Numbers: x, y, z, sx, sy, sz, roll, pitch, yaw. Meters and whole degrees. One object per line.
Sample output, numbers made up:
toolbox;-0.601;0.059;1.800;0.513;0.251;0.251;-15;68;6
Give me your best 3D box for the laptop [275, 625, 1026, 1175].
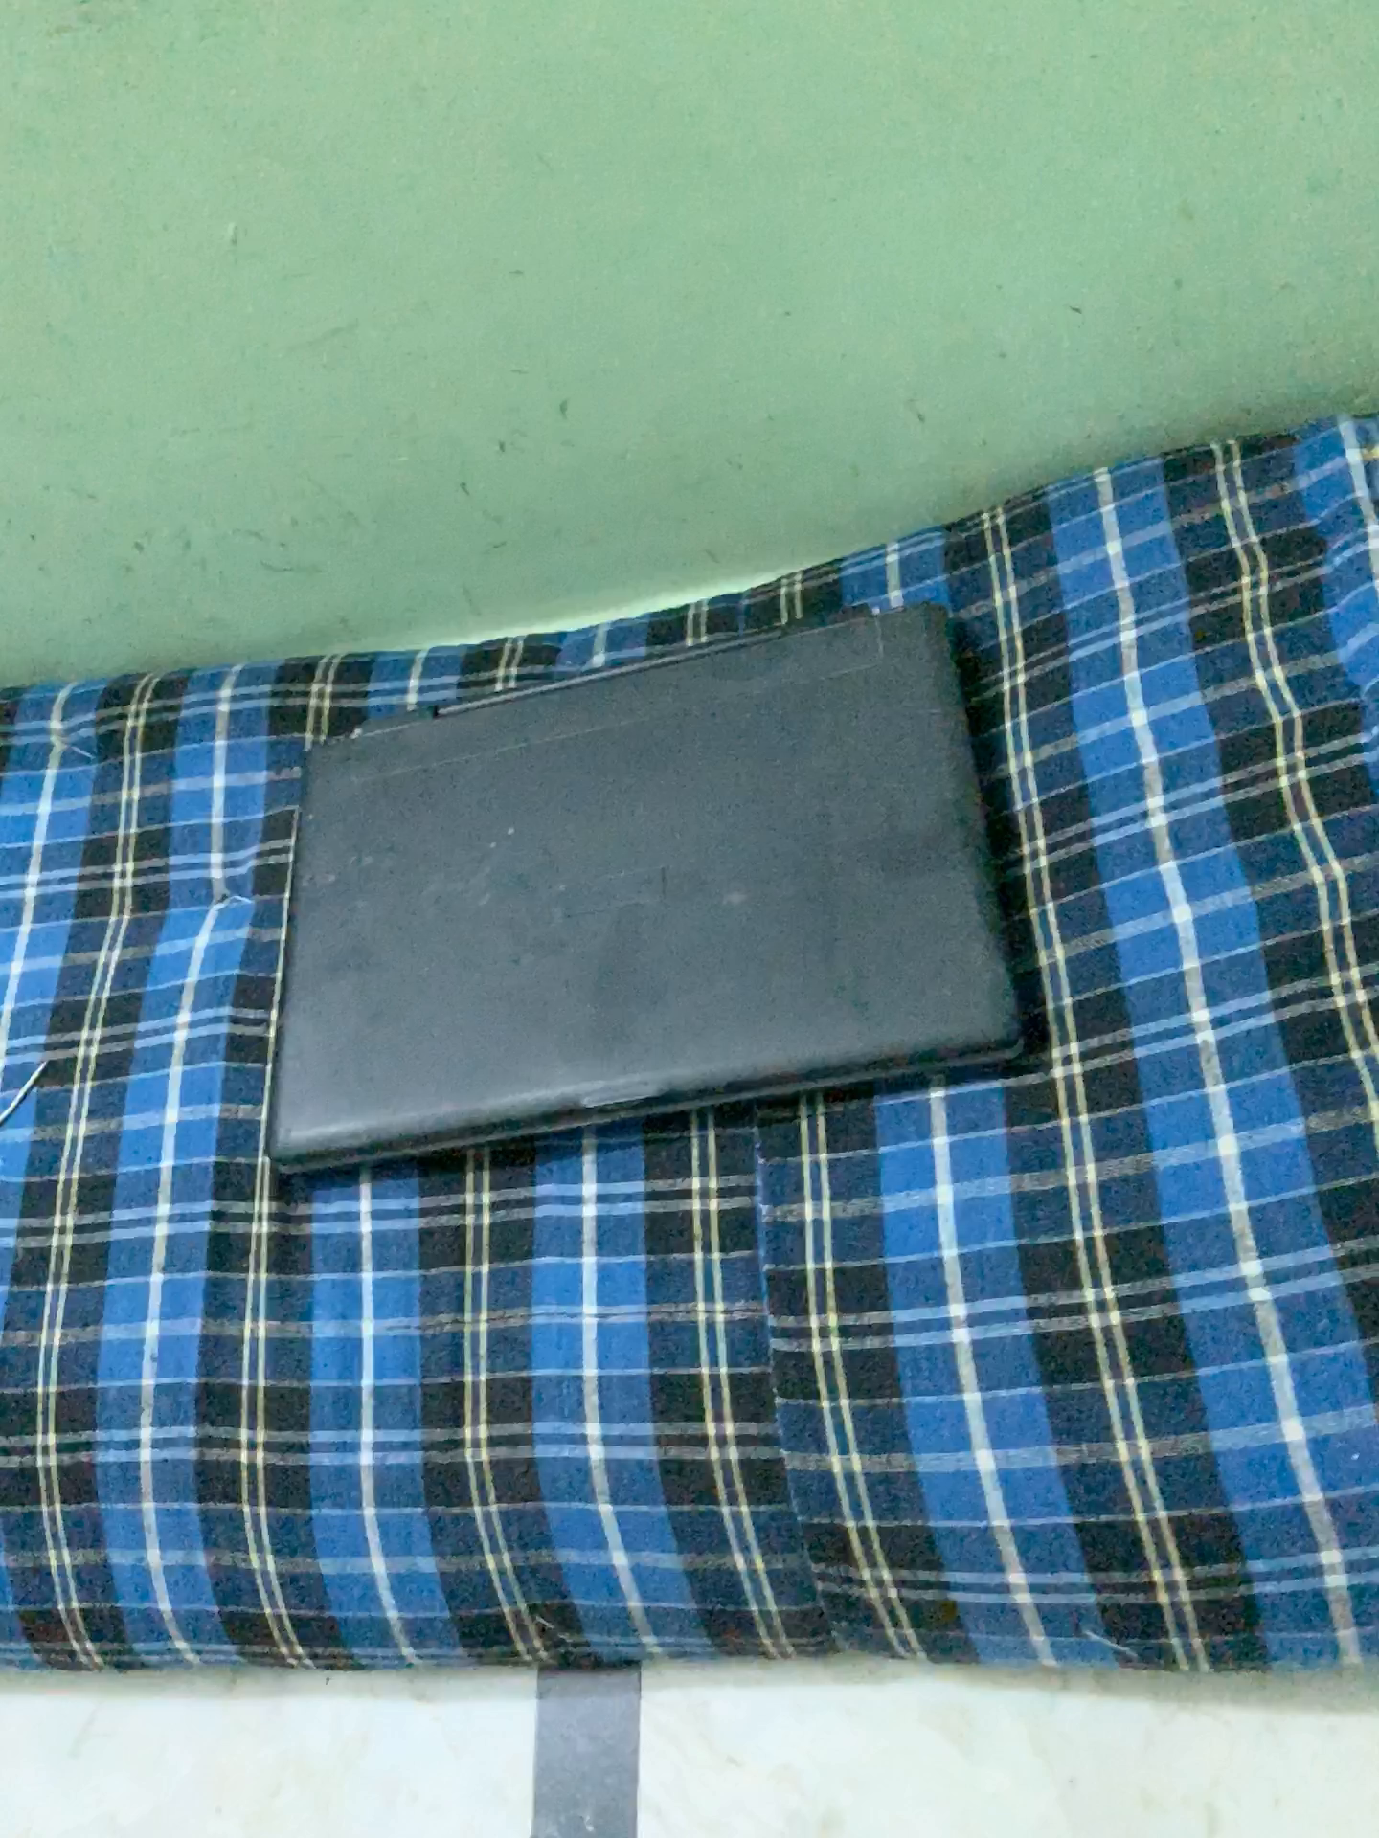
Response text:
laptop;-0.031;-0.012;0.633;0.324;0.005;0.216;-11;60;13
